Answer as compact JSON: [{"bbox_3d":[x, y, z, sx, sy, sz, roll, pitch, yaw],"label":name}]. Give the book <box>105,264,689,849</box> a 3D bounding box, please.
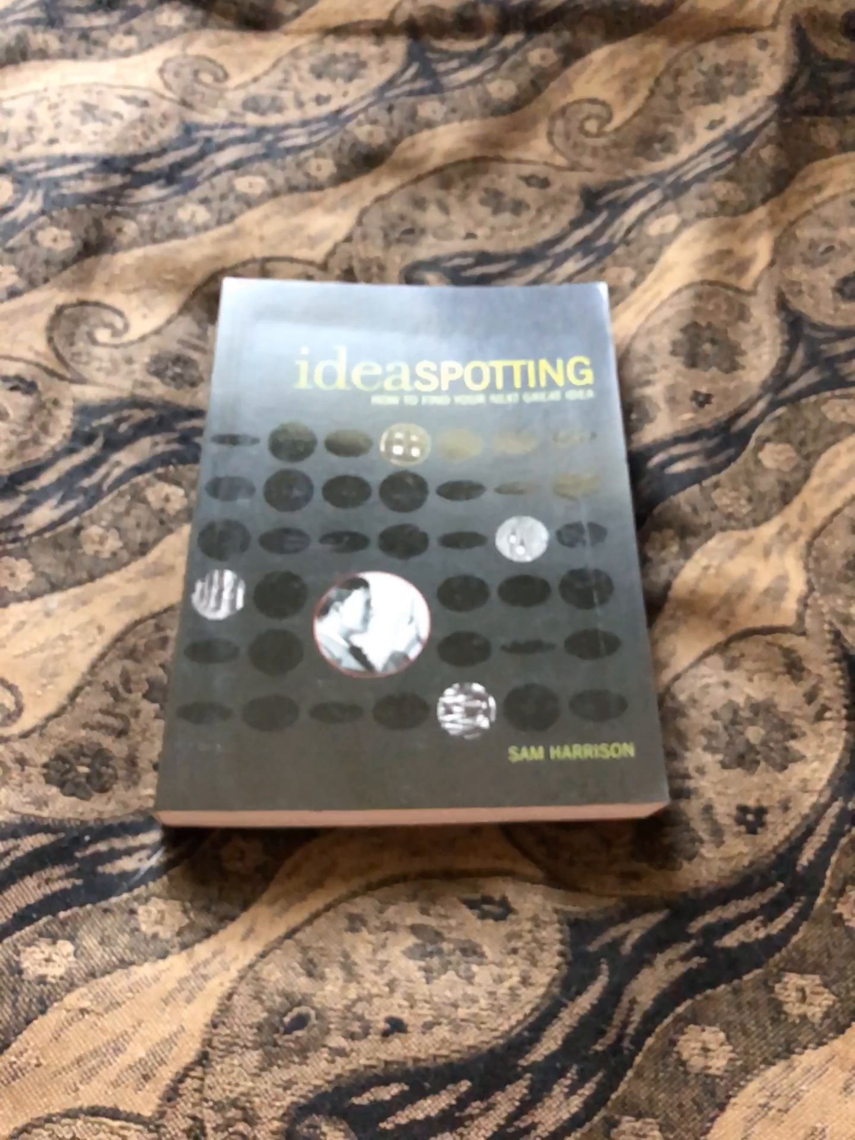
[{"bbox_3d":[-0.007,-0.012,0.293,0.140,0.040,0.180,0,61,-1],"label":"book"}]
